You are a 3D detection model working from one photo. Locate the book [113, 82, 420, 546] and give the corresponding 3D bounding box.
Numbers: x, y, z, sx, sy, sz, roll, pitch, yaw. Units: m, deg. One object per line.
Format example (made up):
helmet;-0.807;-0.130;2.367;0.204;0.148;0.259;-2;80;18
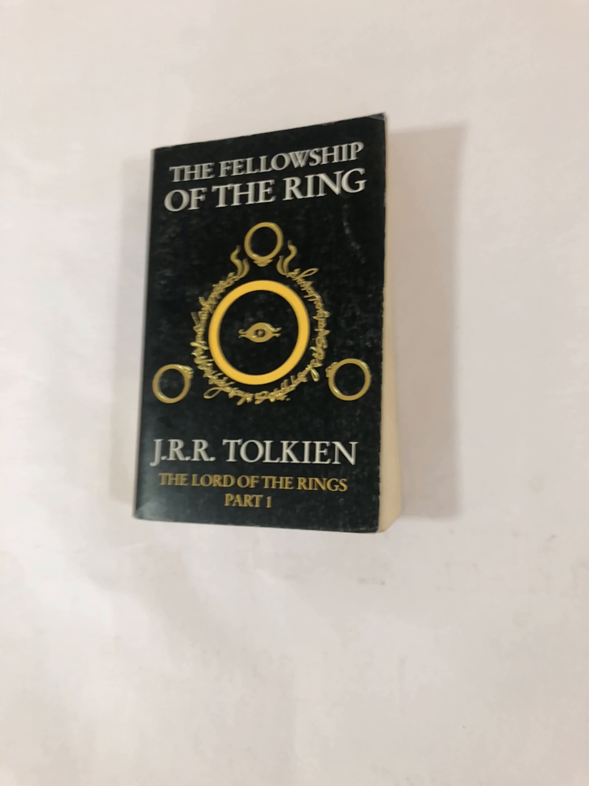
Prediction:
book;-0.011;-0.034;0.327;0.130;0.050;0.200;0;82;23
